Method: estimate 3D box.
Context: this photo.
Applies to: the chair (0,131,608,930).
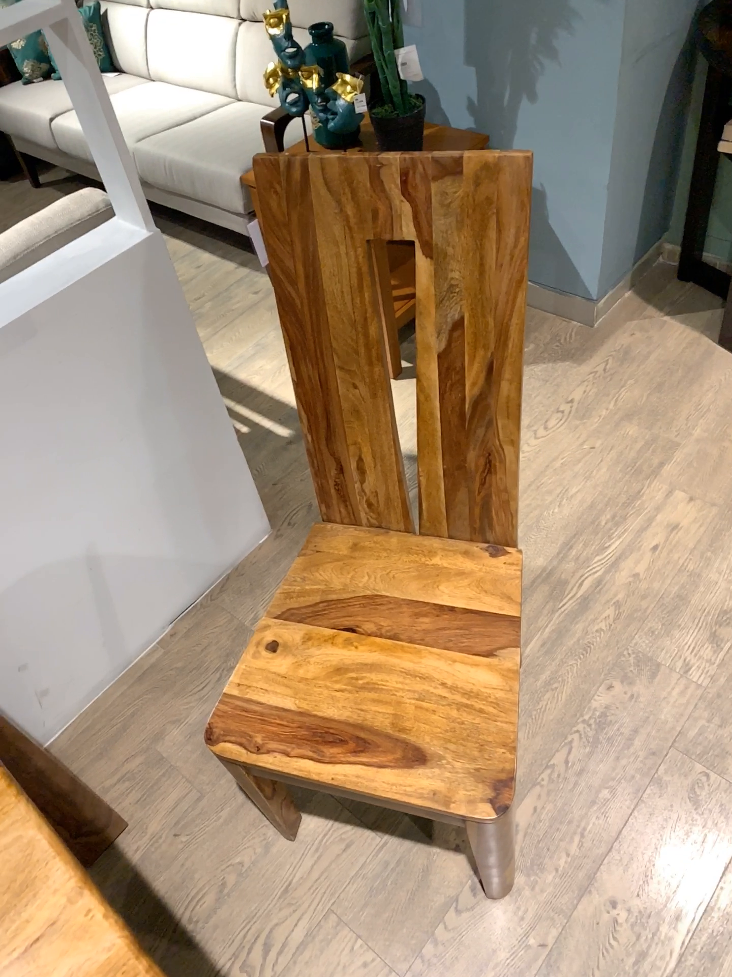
[{"bbox_3d":[0.027,0.126,1.061,0.500,0.967,0.602,5,50,15],"label":"chair"}]
